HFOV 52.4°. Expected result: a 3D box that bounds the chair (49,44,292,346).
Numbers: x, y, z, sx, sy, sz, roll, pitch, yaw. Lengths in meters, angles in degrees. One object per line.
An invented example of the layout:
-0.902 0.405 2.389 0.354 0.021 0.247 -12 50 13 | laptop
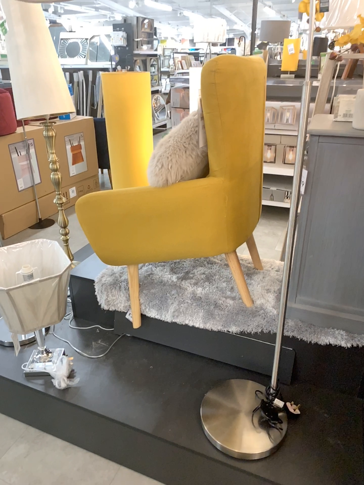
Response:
0.049 -0.203 1.597 0.710 1.022 0.595 0 24 23 | chair
